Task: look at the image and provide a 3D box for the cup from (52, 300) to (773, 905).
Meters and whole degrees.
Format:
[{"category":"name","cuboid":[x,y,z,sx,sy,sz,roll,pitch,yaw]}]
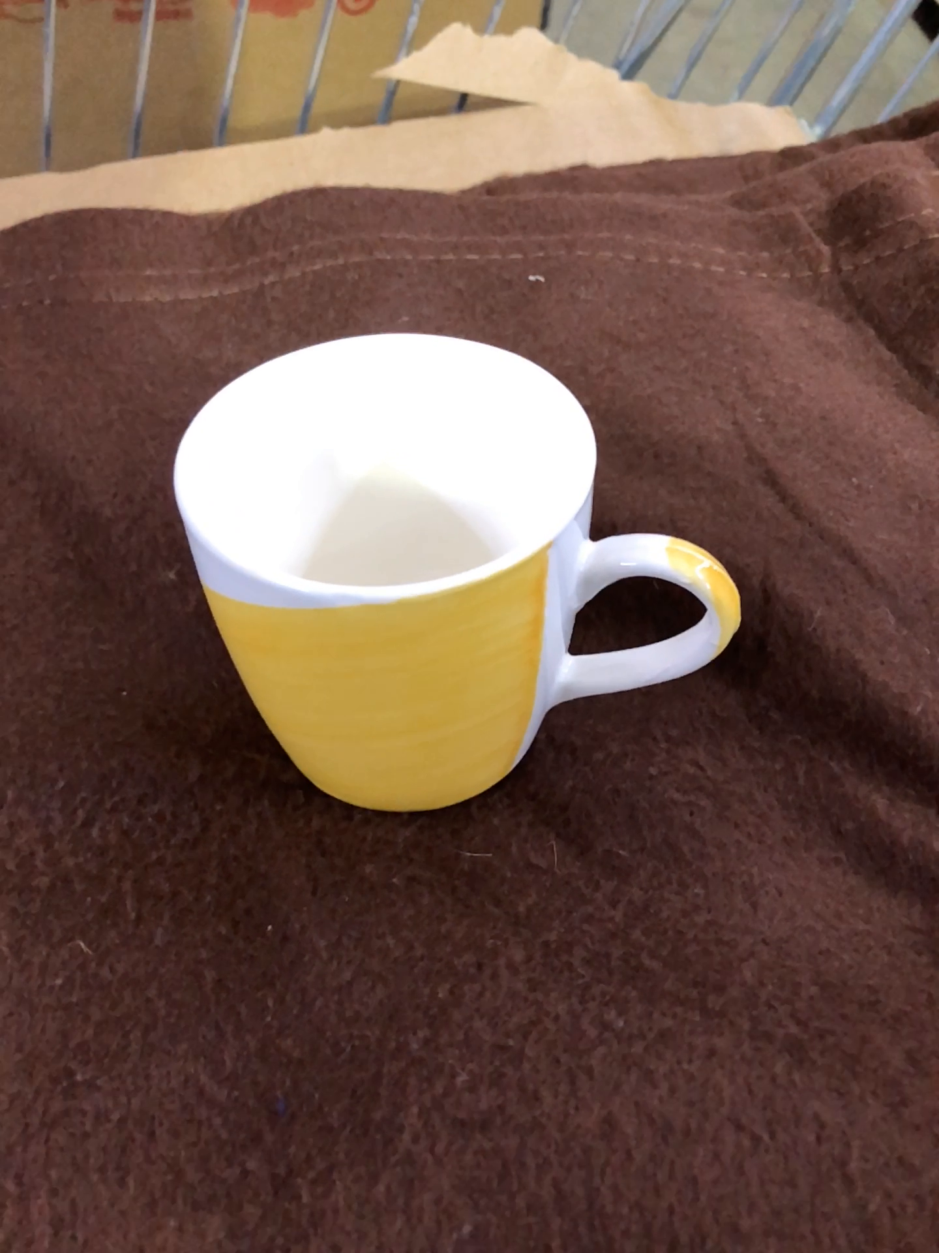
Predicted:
[{"category":"cup","cuboid":[-0.004,-0.006,0.172,0.090,0.060,0.060,10,47,10]}]
